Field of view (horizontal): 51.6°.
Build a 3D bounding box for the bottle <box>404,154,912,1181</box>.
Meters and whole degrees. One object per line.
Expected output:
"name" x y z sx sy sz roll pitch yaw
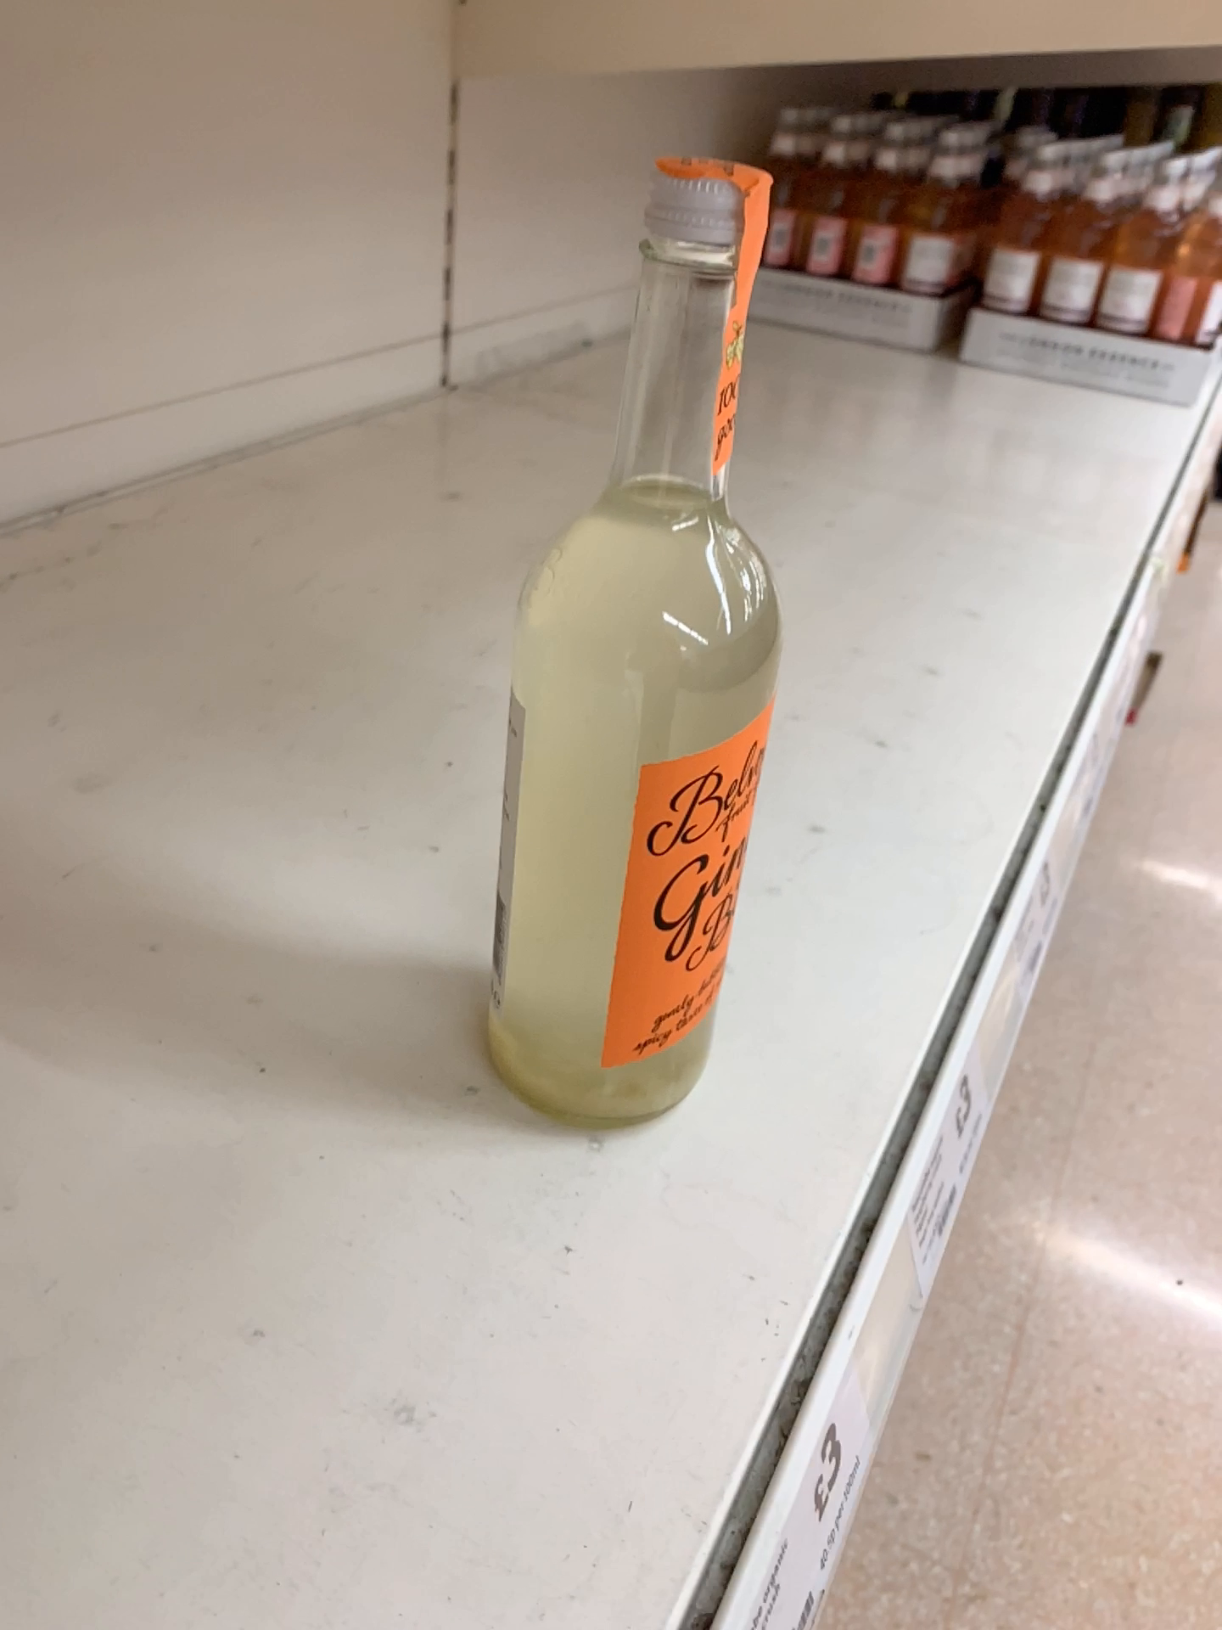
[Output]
"bottle" 0.002 -0.036 0.377 0.090 0.277 0.084 5 31 -3
